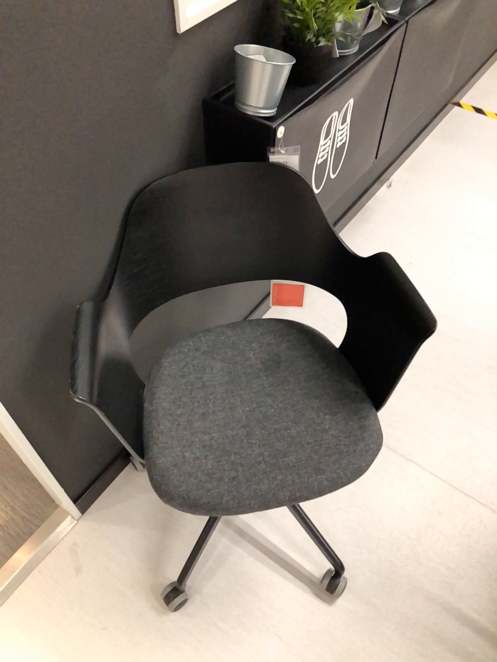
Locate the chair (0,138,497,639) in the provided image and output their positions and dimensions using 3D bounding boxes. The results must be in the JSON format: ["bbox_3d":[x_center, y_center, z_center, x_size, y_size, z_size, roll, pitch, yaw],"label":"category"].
[{"bbox_3d":[0.017,0.158,1.029,0.660,0.756,0.563,-6,53,-4],"label":"chair"}]
